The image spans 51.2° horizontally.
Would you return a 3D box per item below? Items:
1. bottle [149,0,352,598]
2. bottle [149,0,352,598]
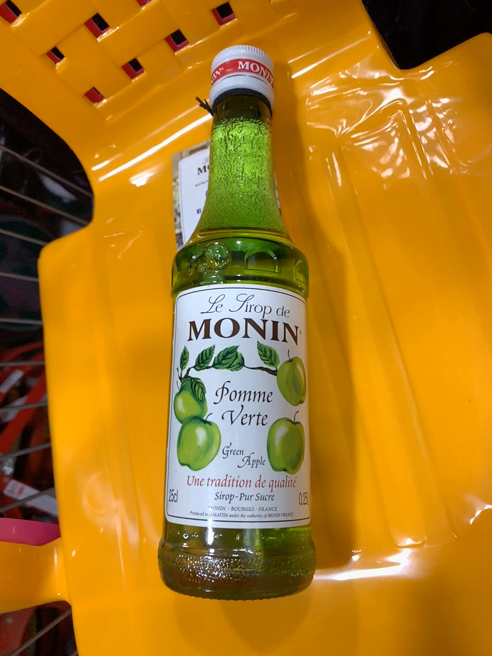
[{"bbox_3d":[0.001,-0.015,0.220,0.060,0.060,0.220,154,120,-66],"label":"bottle"},{"bbox_3d":[0.001,-0.015,0.220,0.060,0.060,0.220,154,120,-66],"label":"bottle"}]
